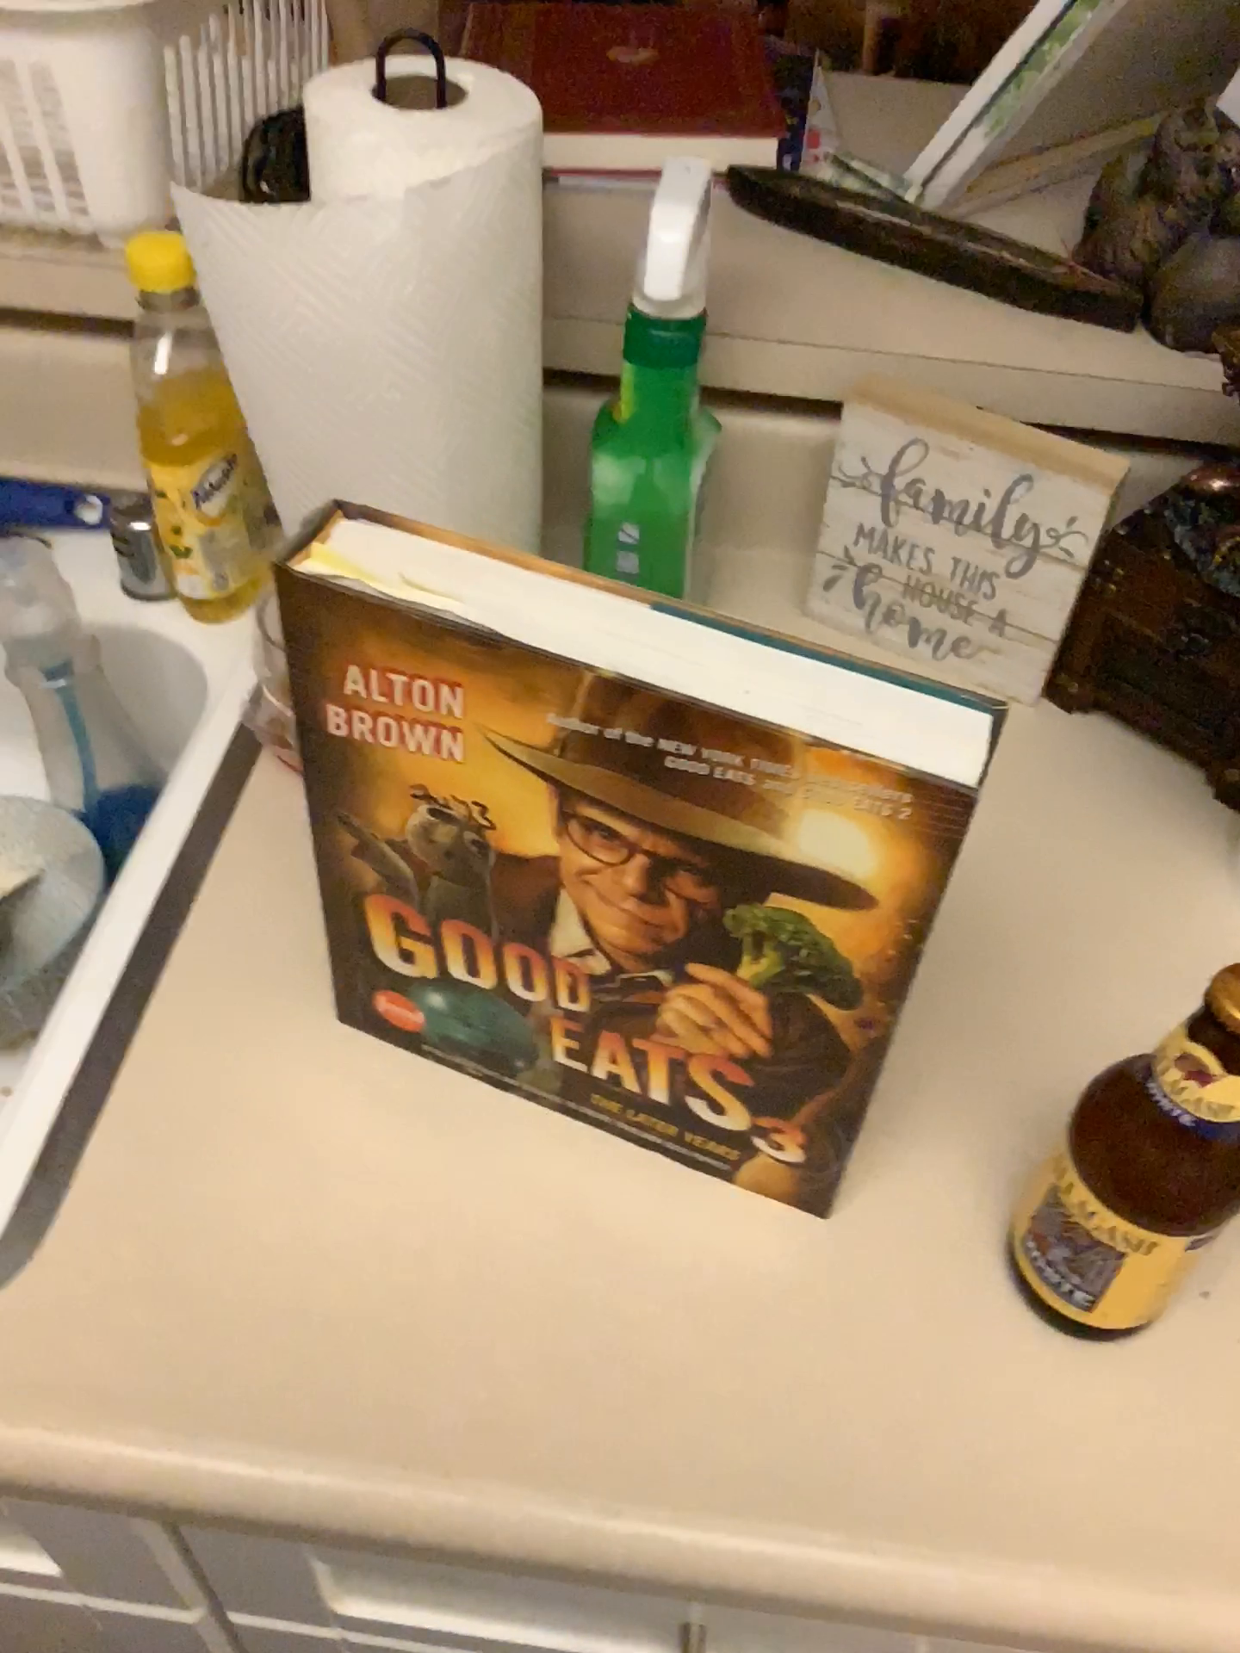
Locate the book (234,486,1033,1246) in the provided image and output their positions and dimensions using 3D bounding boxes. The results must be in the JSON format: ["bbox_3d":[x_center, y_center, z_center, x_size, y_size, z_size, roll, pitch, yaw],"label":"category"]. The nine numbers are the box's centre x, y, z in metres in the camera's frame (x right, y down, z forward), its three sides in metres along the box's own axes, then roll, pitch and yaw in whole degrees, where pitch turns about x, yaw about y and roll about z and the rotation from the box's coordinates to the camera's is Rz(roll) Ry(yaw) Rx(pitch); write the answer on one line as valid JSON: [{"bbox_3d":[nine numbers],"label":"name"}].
[{"bbox_3d":[-0.006,0.027,0.505,0.240,0.250,0.050,18,47,13],"label":"book"}]
